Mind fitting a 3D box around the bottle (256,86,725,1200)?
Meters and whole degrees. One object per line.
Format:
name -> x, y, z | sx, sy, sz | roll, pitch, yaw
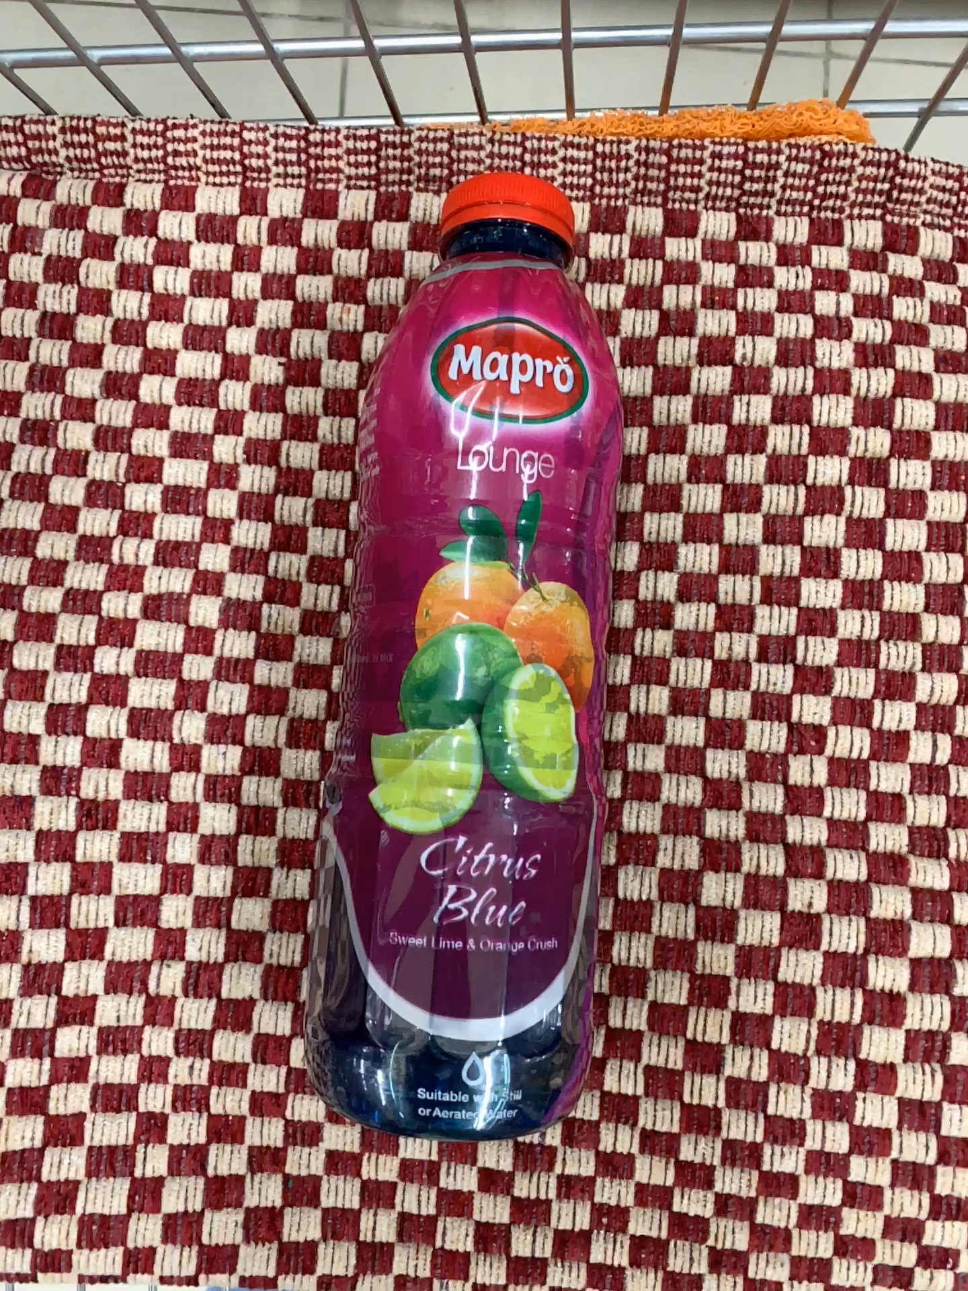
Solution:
bottle -> -0.002, 0.003, 0.264 | 0.090, 0.070, 0.250 | 5, 90, -9
